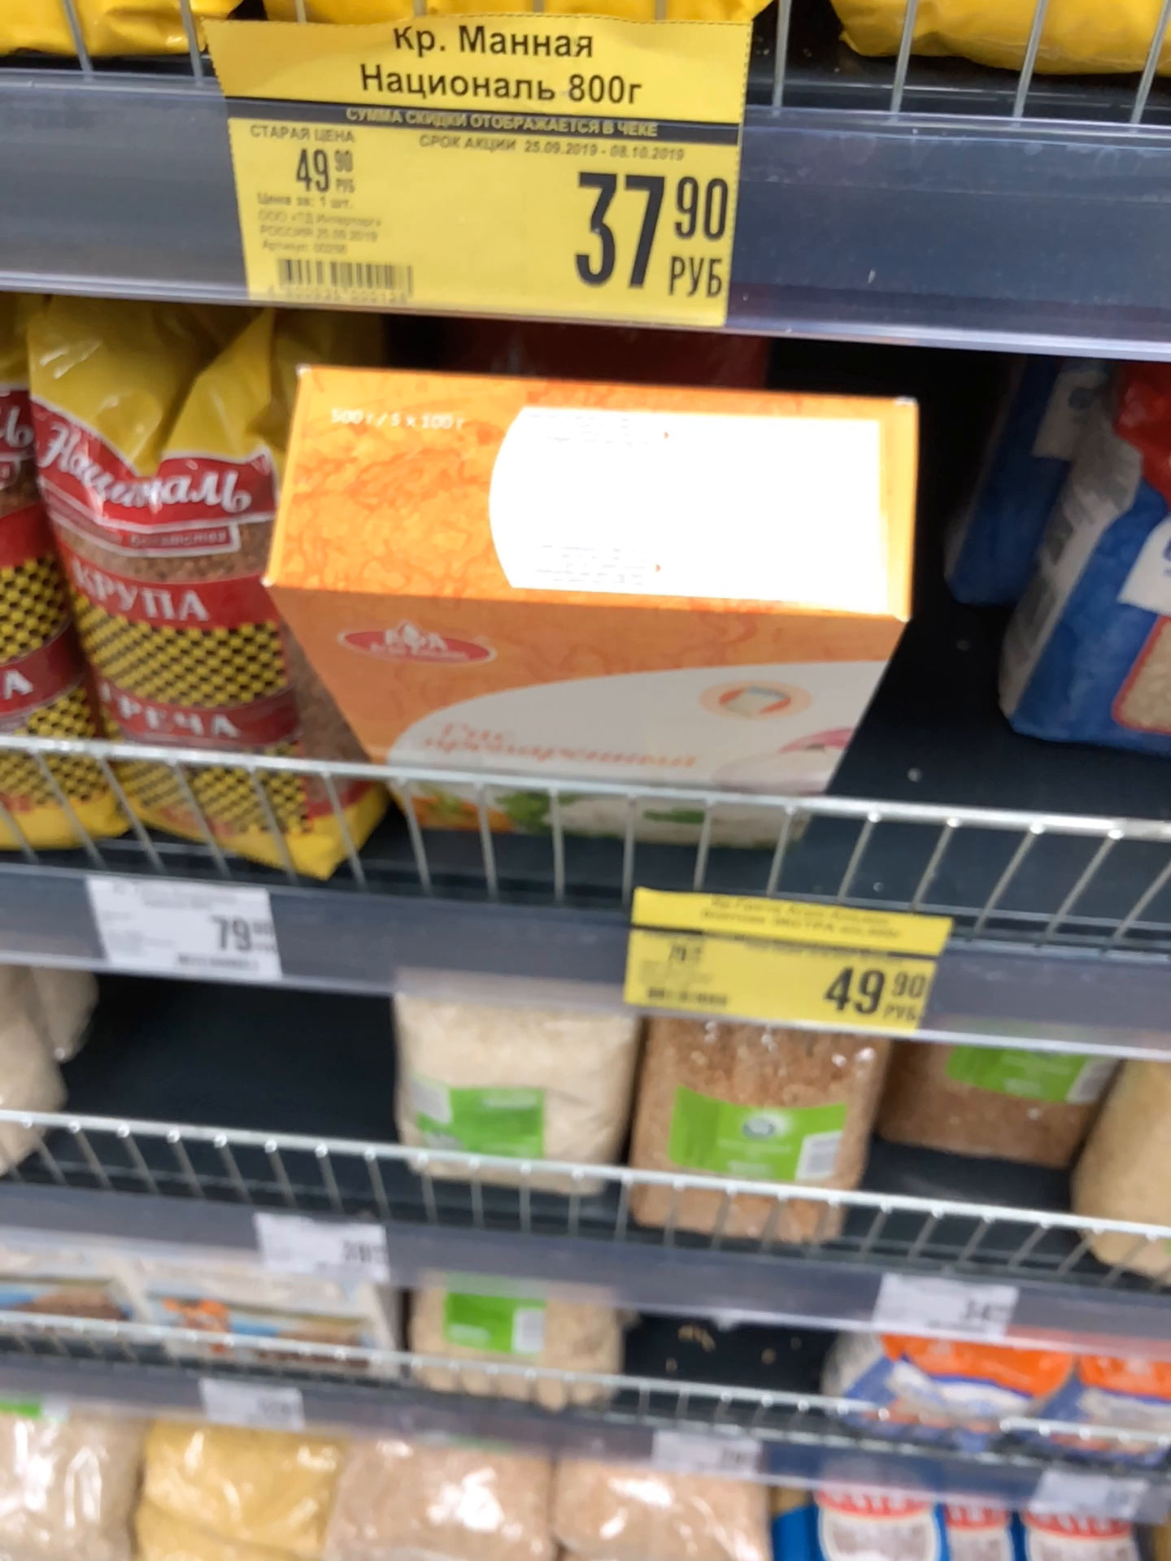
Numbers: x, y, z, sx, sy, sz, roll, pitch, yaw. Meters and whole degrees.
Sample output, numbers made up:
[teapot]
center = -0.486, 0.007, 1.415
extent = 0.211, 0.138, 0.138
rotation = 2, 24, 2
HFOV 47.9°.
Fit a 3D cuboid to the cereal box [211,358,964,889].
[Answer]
[cereal box]
center = 0.004, -0.025, 0.344
extent = 0.140, 0.189, 0.060
rotation = 3, 73, 2
